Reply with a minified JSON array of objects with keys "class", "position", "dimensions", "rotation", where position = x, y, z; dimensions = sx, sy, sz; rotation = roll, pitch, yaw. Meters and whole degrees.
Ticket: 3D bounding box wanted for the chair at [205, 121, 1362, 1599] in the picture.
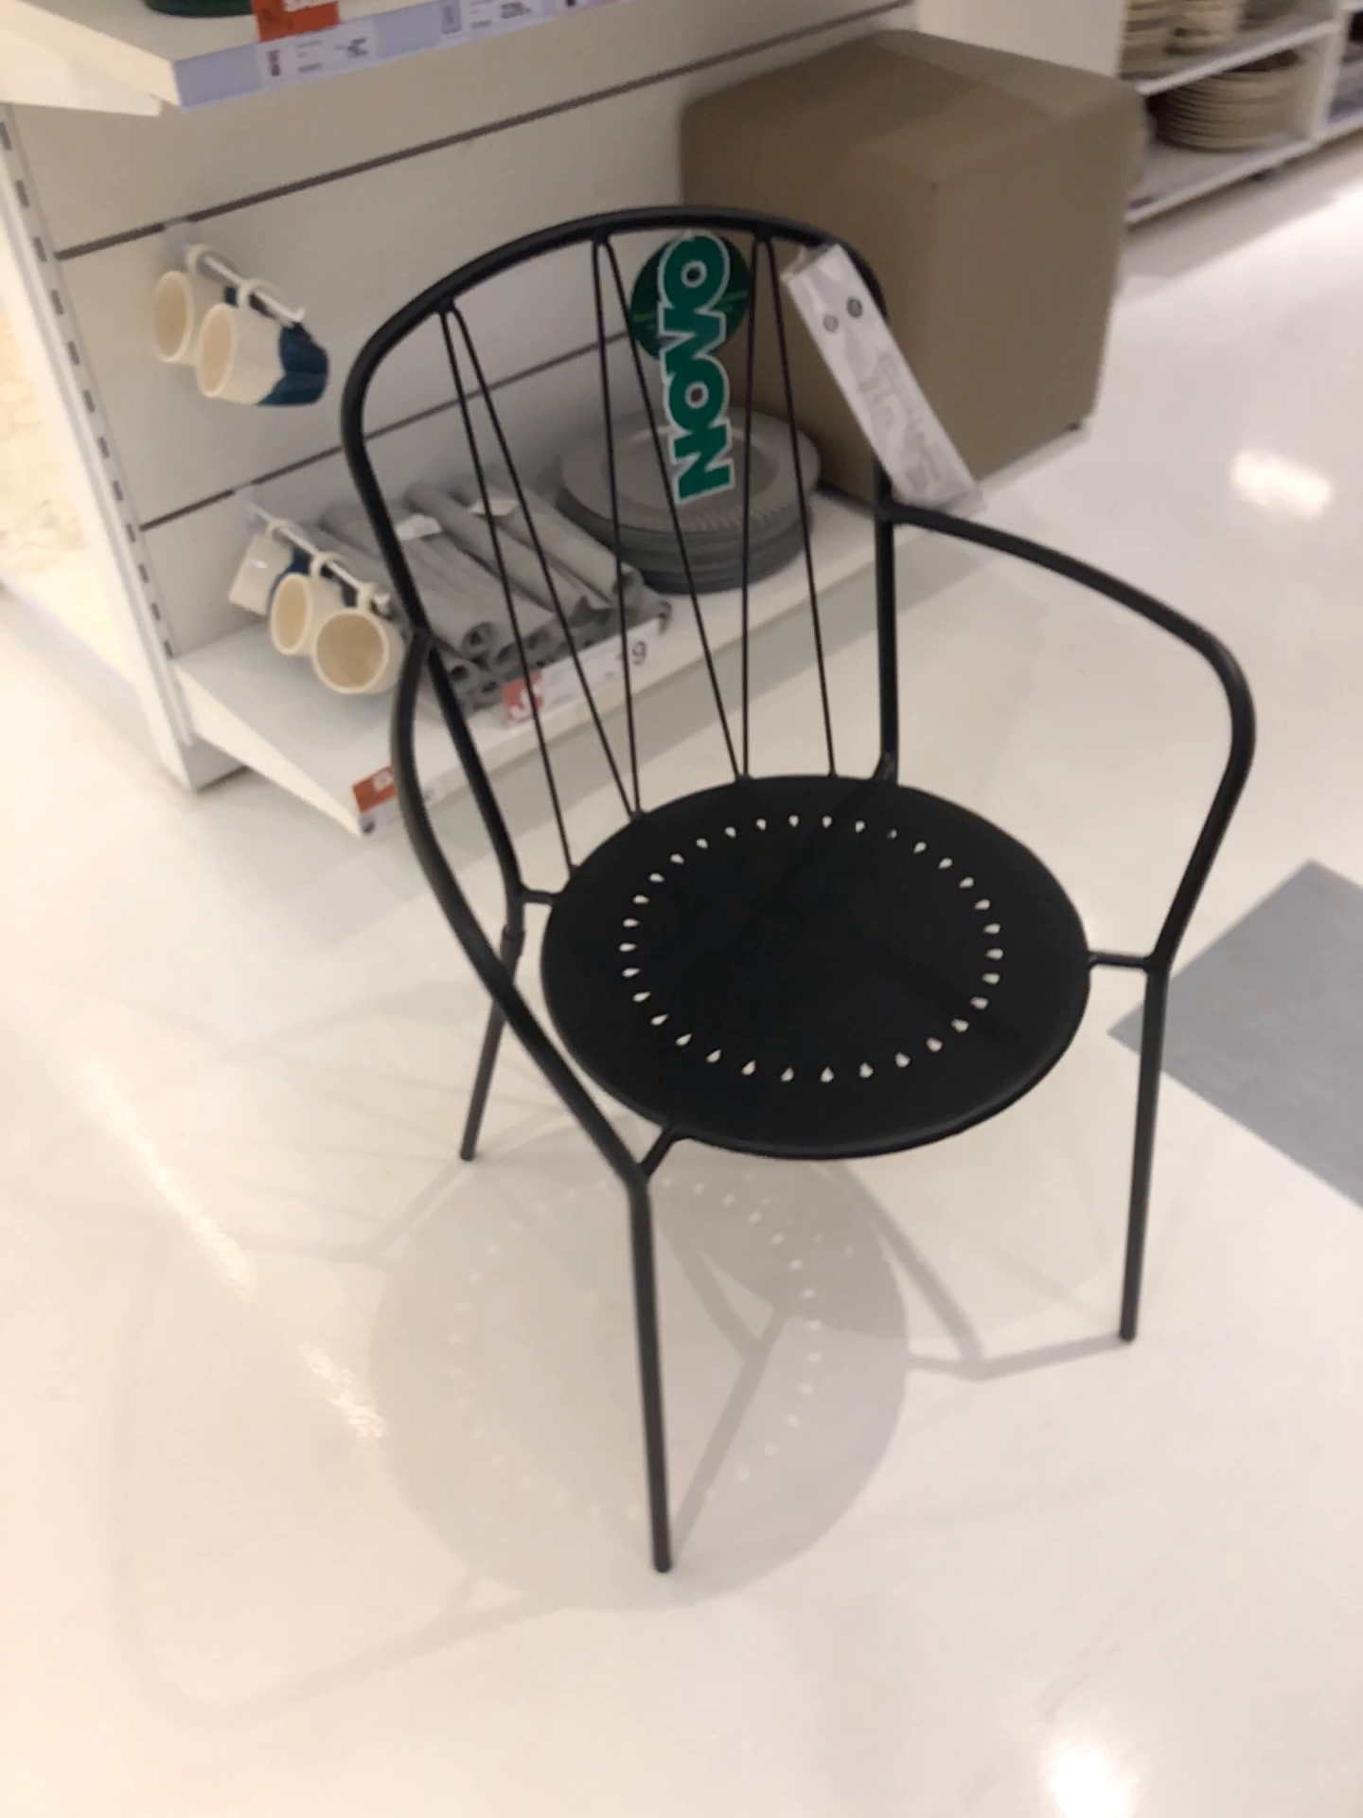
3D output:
[{"class":"chair","position":[0.063,-0.027,1.123],"dimensions":[0.511,0.814,0.564],"rotation":[-19,46,-17]}]
